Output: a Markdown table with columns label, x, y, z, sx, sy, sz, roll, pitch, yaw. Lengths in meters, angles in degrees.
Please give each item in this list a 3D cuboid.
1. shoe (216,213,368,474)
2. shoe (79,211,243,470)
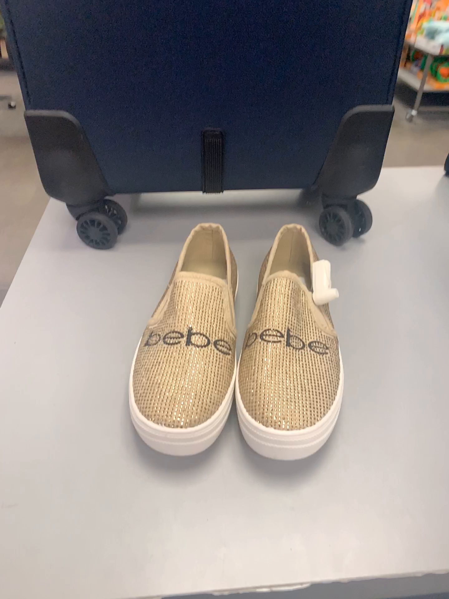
| label | x | y | z | sx | sy | sz | roll | pitch | yaw |
| --- | --- | --- | --- | --- | --- | --- | --- | --- | --- |
| shoe | 0.051 | 0.021 | 0.396 | 0.093 | 0.086 | 0.224 | 2 | 41 | 4 |
| shoe | -0.036 | 0.019 | 0.398 | 0.093 | 0.086 | 0.224 | 2 | 41 | 4 |
